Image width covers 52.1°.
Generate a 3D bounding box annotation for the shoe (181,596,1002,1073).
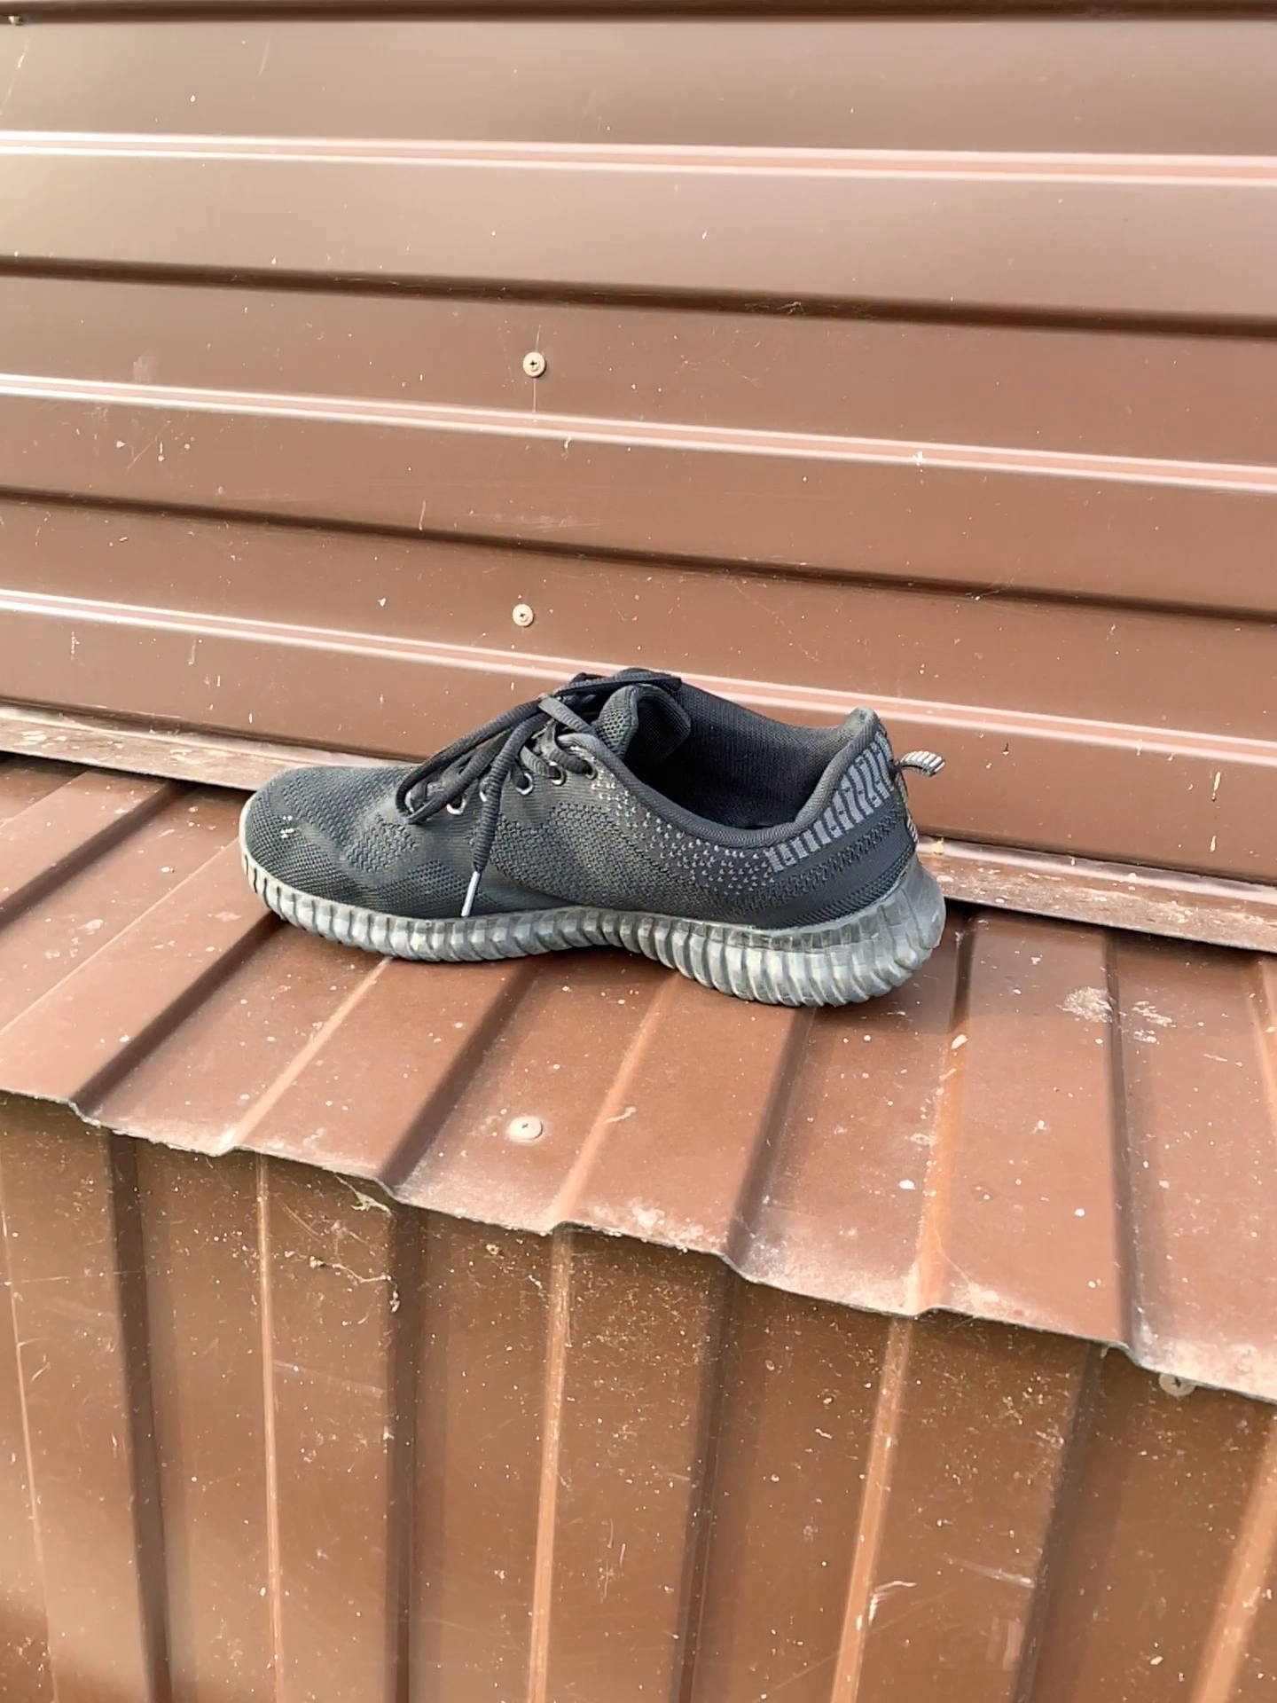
[{"bbox_3d":[-0.013,-0.017,0.542,0.300,0.119,0.121,7,29,11],"label":"shoe"}]
